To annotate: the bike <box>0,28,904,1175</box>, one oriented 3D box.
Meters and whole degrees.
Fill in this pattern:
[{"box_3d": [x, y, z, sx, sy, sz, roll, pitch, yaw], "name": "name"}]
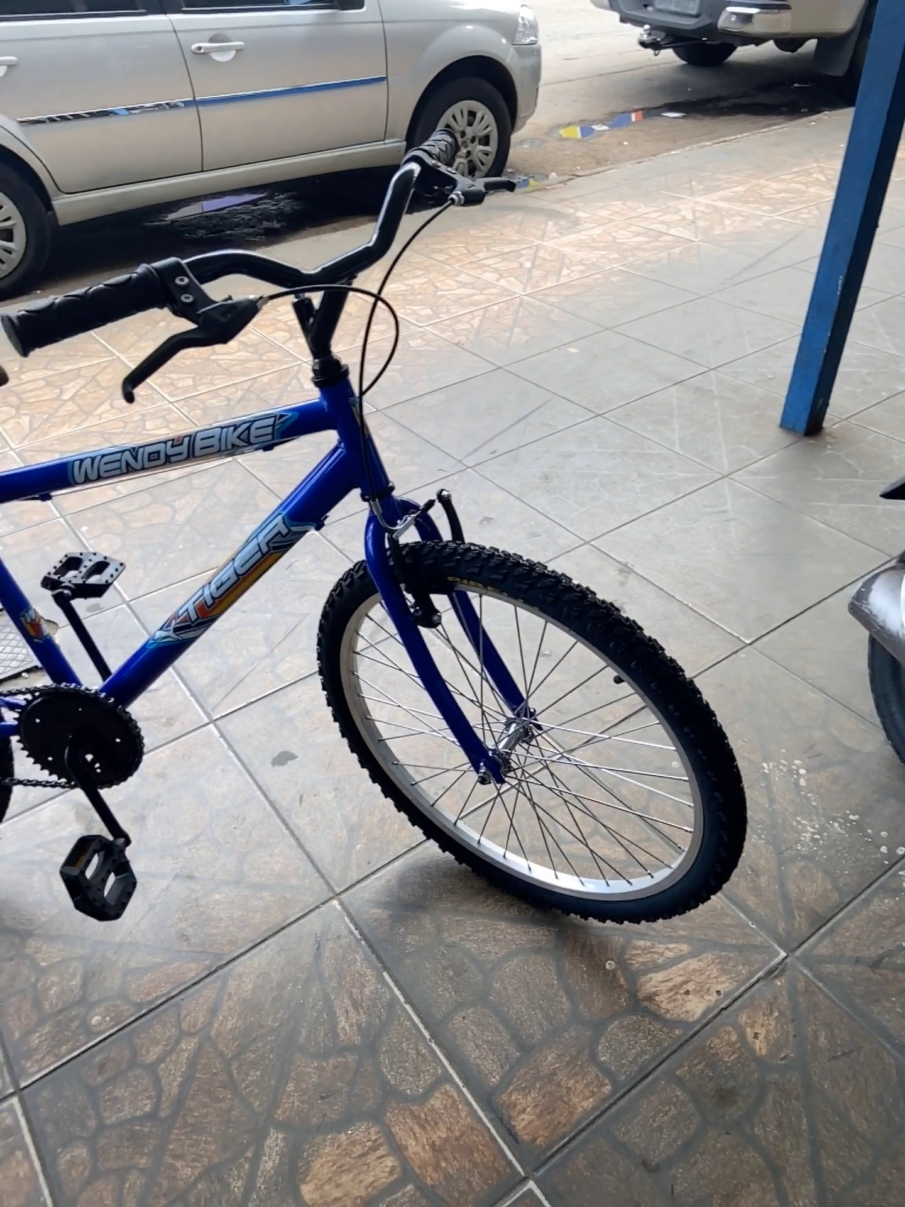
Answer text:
[{"box_3d": [-0.431, 0.023, 1.045, 1.486, 0.923, 0.626, 1, 40, 10], "name": "bike"}]
